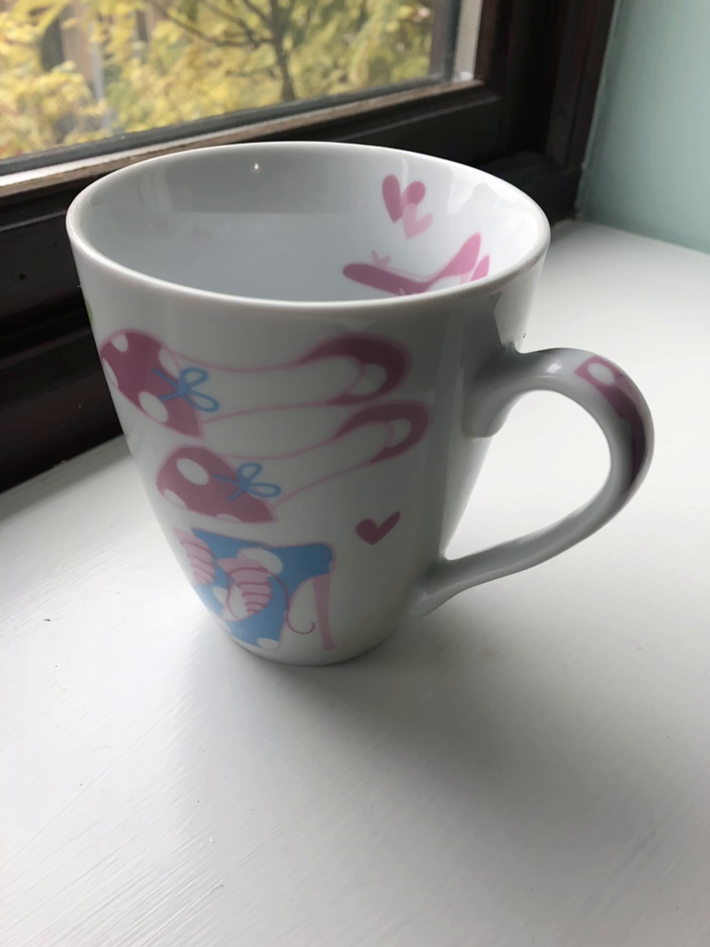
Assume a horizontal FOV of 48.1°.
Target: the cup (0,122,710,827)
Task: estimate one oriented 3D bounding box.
[{"bbox_3d":[0.004,-0.019,0.196,0.140,0.089,0.111,23,40,26],"label":"cup"}]
